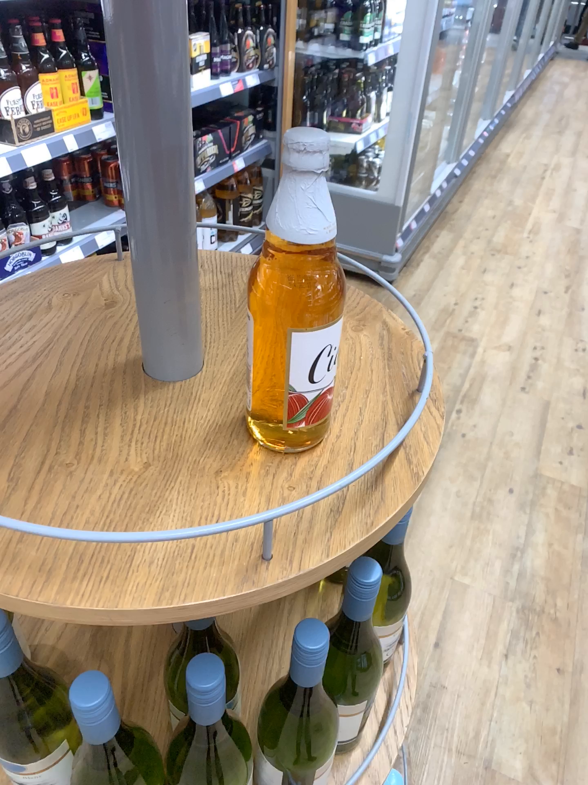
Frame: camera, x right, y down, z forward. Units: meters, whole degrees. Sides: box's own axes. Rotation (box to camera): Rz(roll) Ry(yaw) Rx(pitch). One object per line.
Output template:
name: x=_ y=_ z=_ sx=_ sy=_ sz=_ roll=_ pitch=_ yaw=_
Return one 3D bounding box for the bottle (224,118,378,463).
bottle: x=-0.001 y=-0.063 z=0.420 sx=0.070 sy=0.218 sz=0.070 roll=3 pitch=37 yaw=-2
